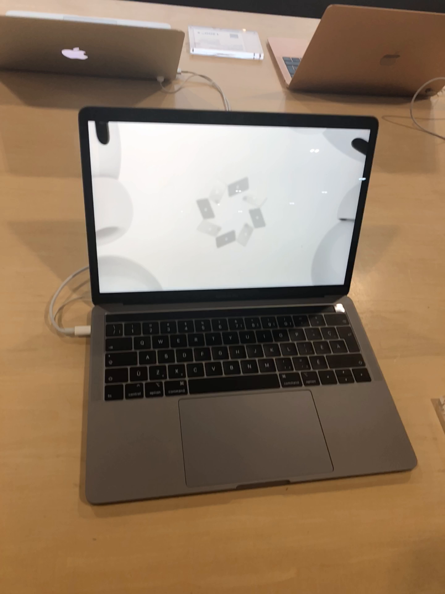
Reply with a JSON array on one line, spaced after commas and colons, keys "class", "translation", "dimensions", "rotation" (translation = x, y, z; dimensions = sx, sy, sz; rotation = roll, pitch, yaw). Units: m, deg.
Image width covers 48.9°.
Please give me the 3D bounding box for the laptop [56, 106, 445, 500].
[{"class": "laptop", "translation": [0.021, -0.008, 0.453], "dimensions": [0.296, 0.181, 0.296], "rotation": [-2, 50, -12]}]
